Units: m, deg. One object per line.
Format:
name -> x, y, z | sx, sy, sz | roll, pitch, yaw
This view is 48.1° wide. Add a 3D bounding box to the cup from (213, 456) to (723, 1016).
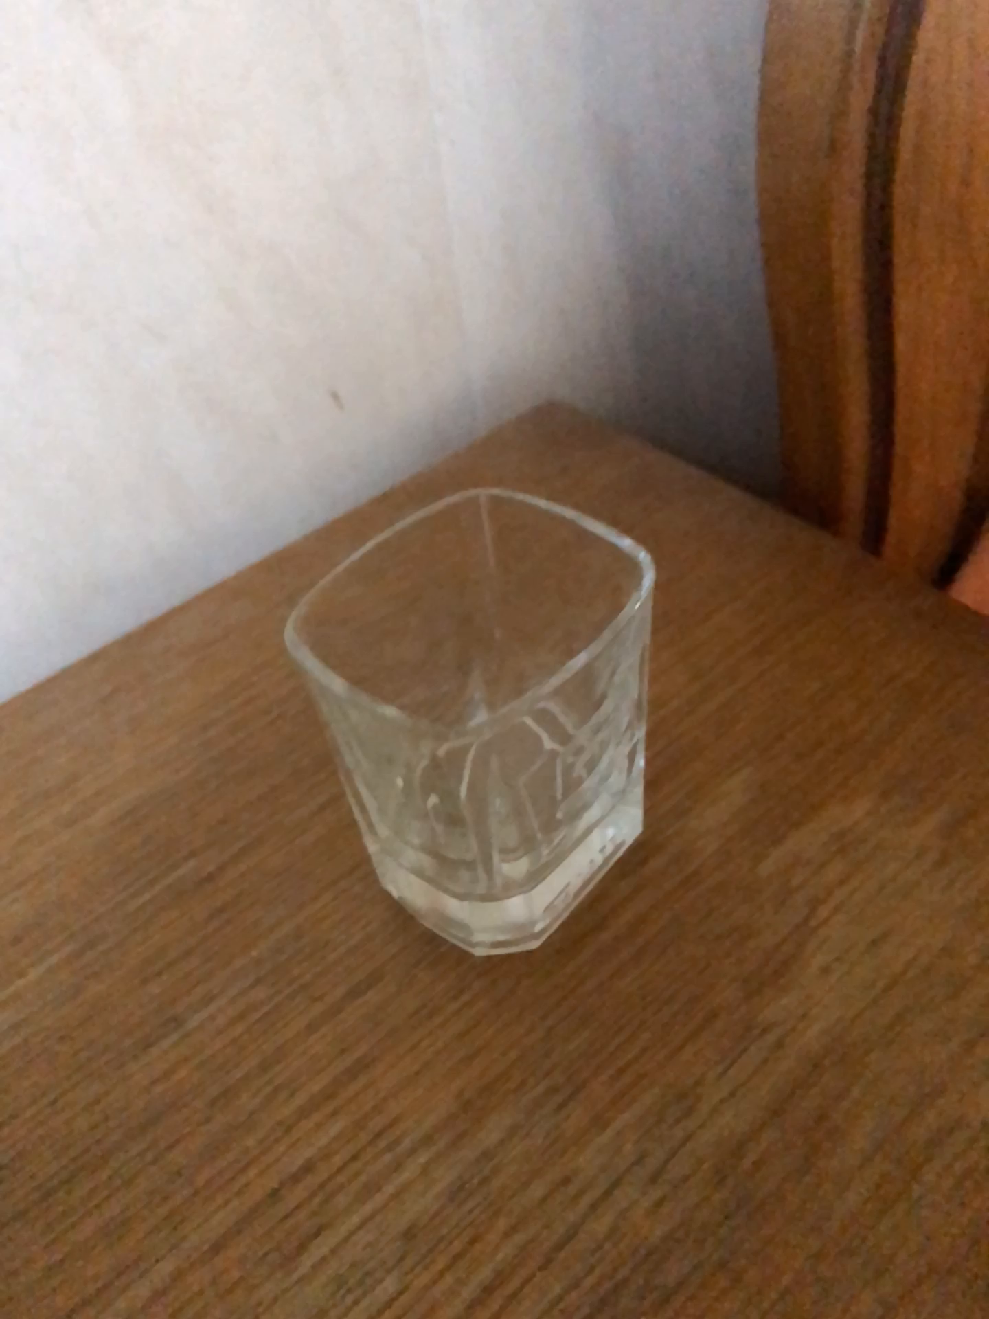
cup -> -0.001, 0.013, 0.236 | 0.070, 0.070, 0.070 | -5, 41, 4
